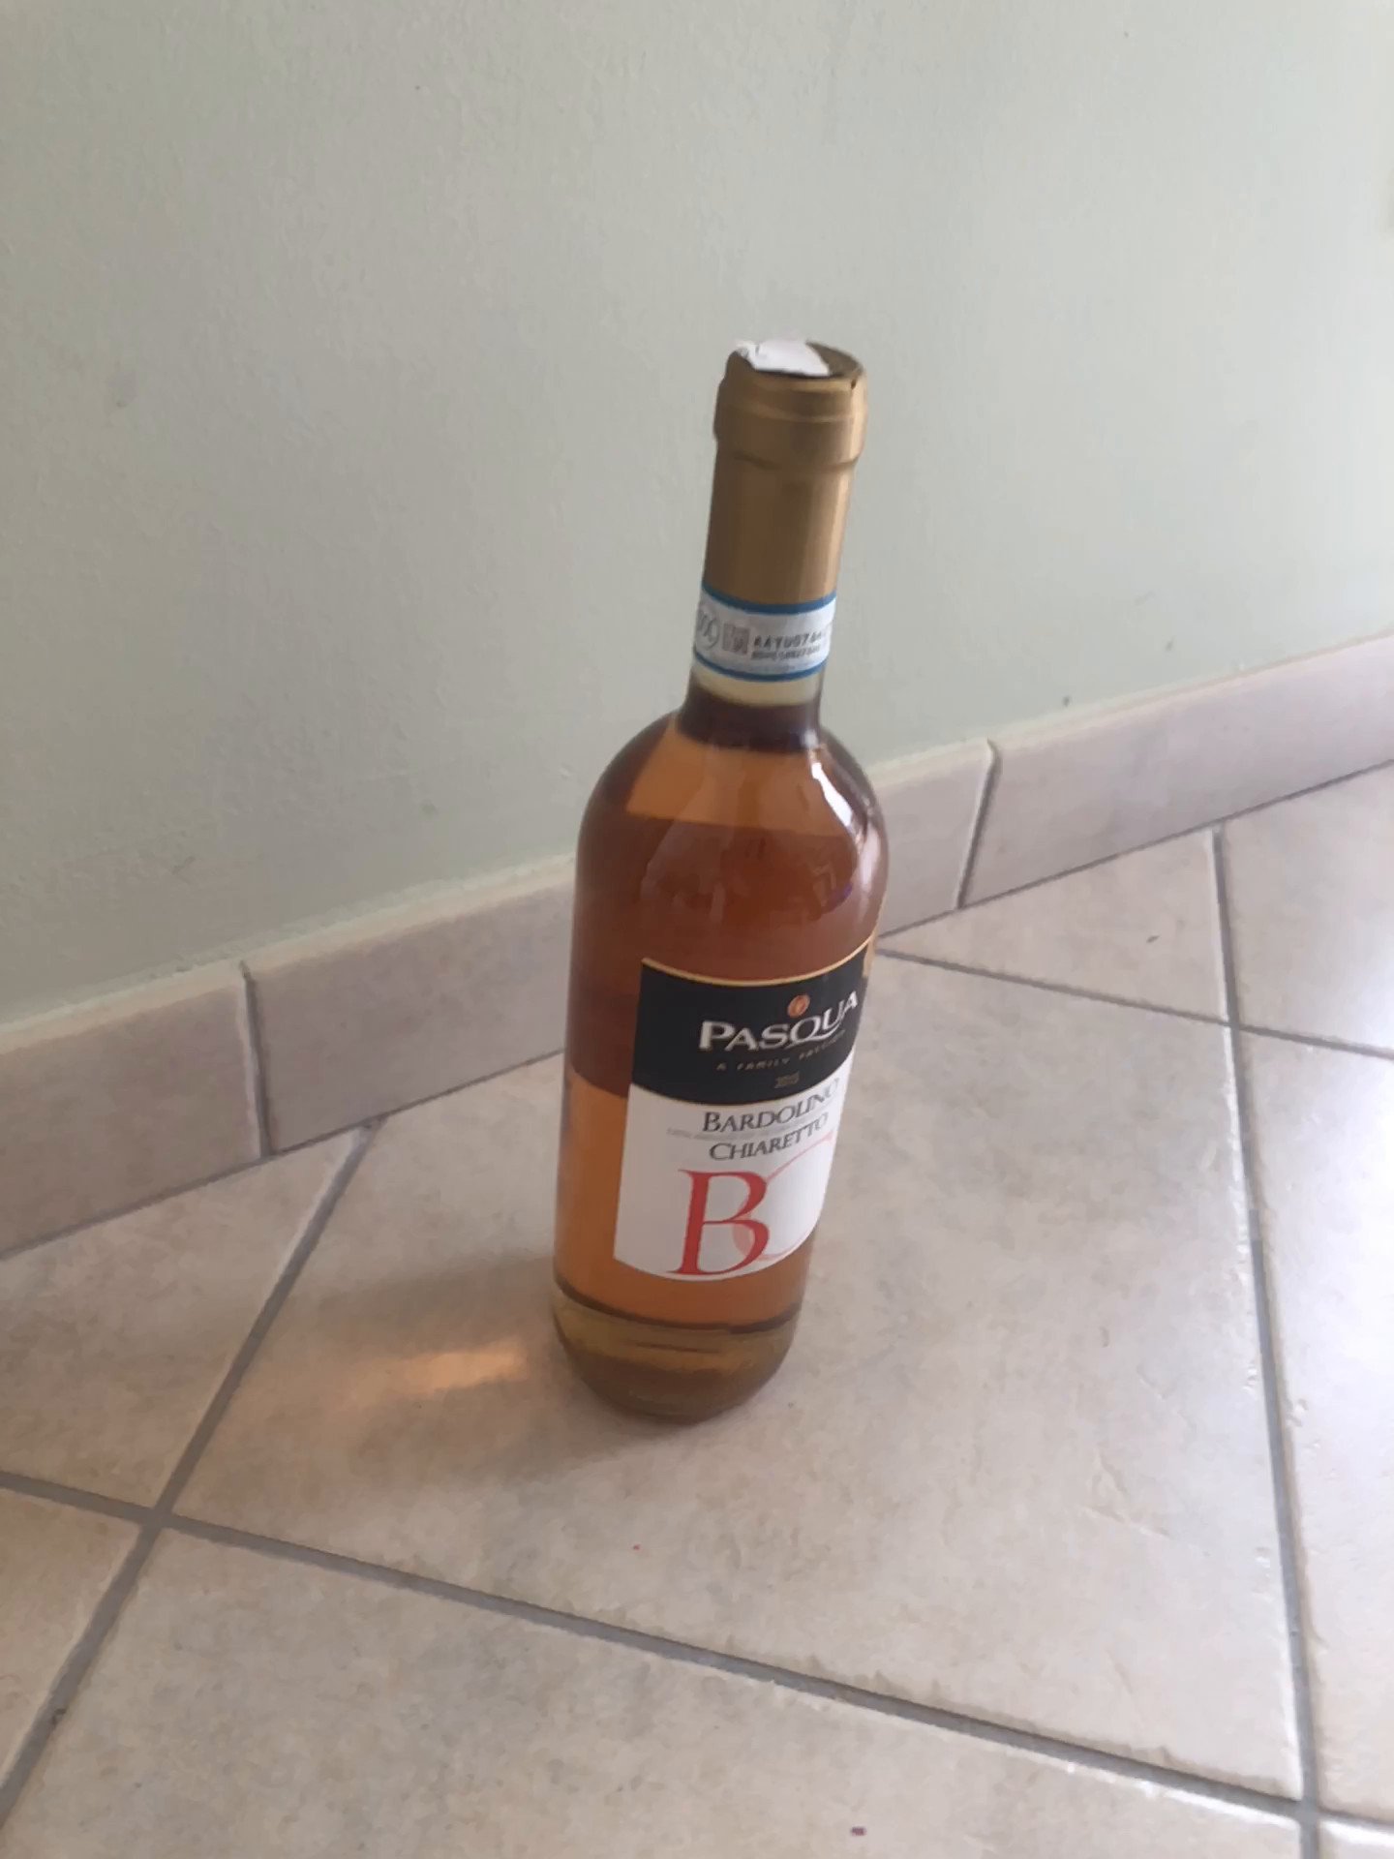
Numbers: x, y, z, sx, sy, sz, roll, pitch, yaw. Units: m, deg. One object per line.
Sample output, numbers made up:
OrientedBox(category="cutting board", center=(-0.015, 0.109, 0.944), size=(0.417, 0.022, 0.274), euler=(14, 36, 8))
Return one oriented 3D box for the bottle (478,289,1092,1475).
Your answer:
OrientedBox(category="bottle", center=(0.002, 0.004, 0.360), size=(0.080, 0.268, 0.080), euler=(4, 38, -3))
